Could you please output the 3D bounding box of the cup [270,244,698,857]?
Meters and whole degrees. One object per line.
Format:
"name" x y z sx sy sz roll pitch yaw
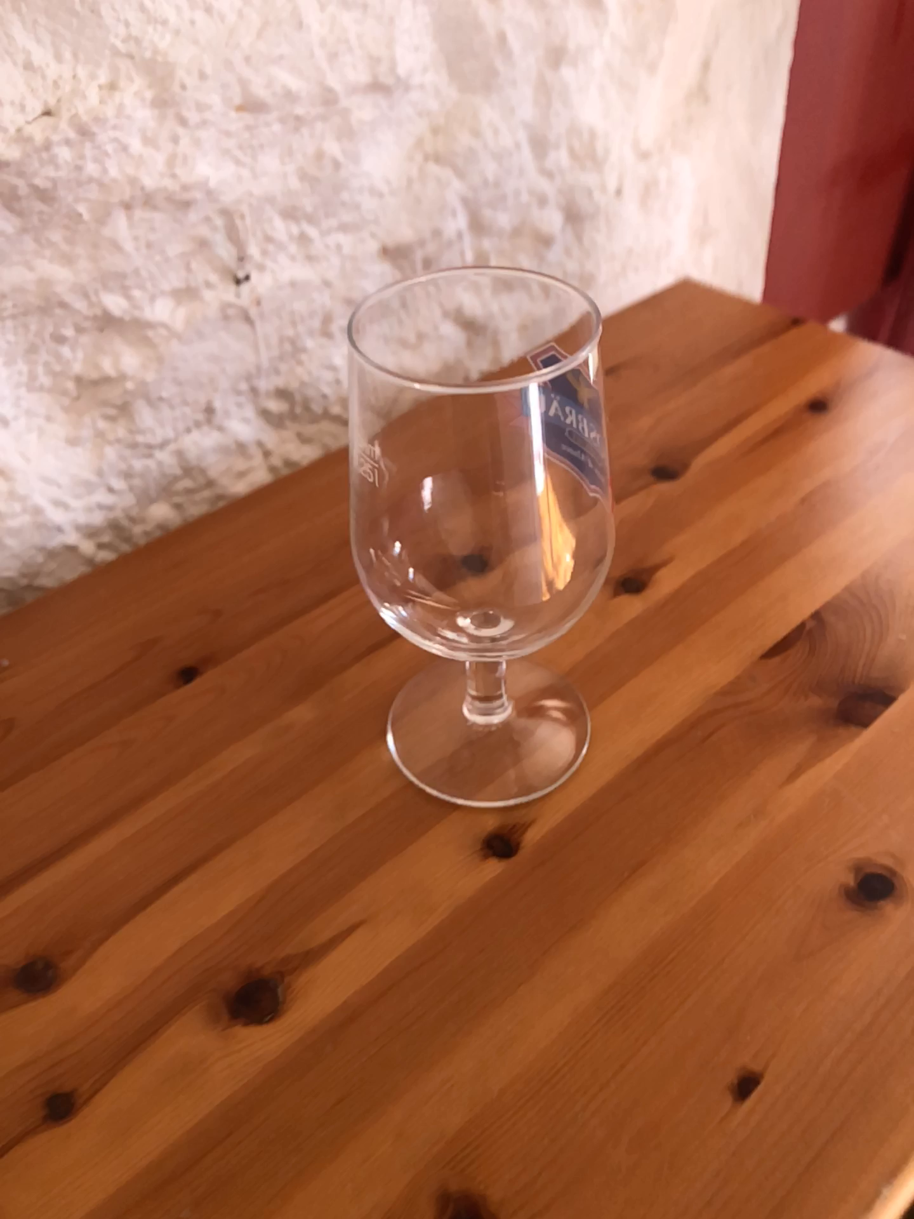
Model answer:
"cup" 0.008 -0.016 0.297 0.077 0.142 0.079 -2 40 2
